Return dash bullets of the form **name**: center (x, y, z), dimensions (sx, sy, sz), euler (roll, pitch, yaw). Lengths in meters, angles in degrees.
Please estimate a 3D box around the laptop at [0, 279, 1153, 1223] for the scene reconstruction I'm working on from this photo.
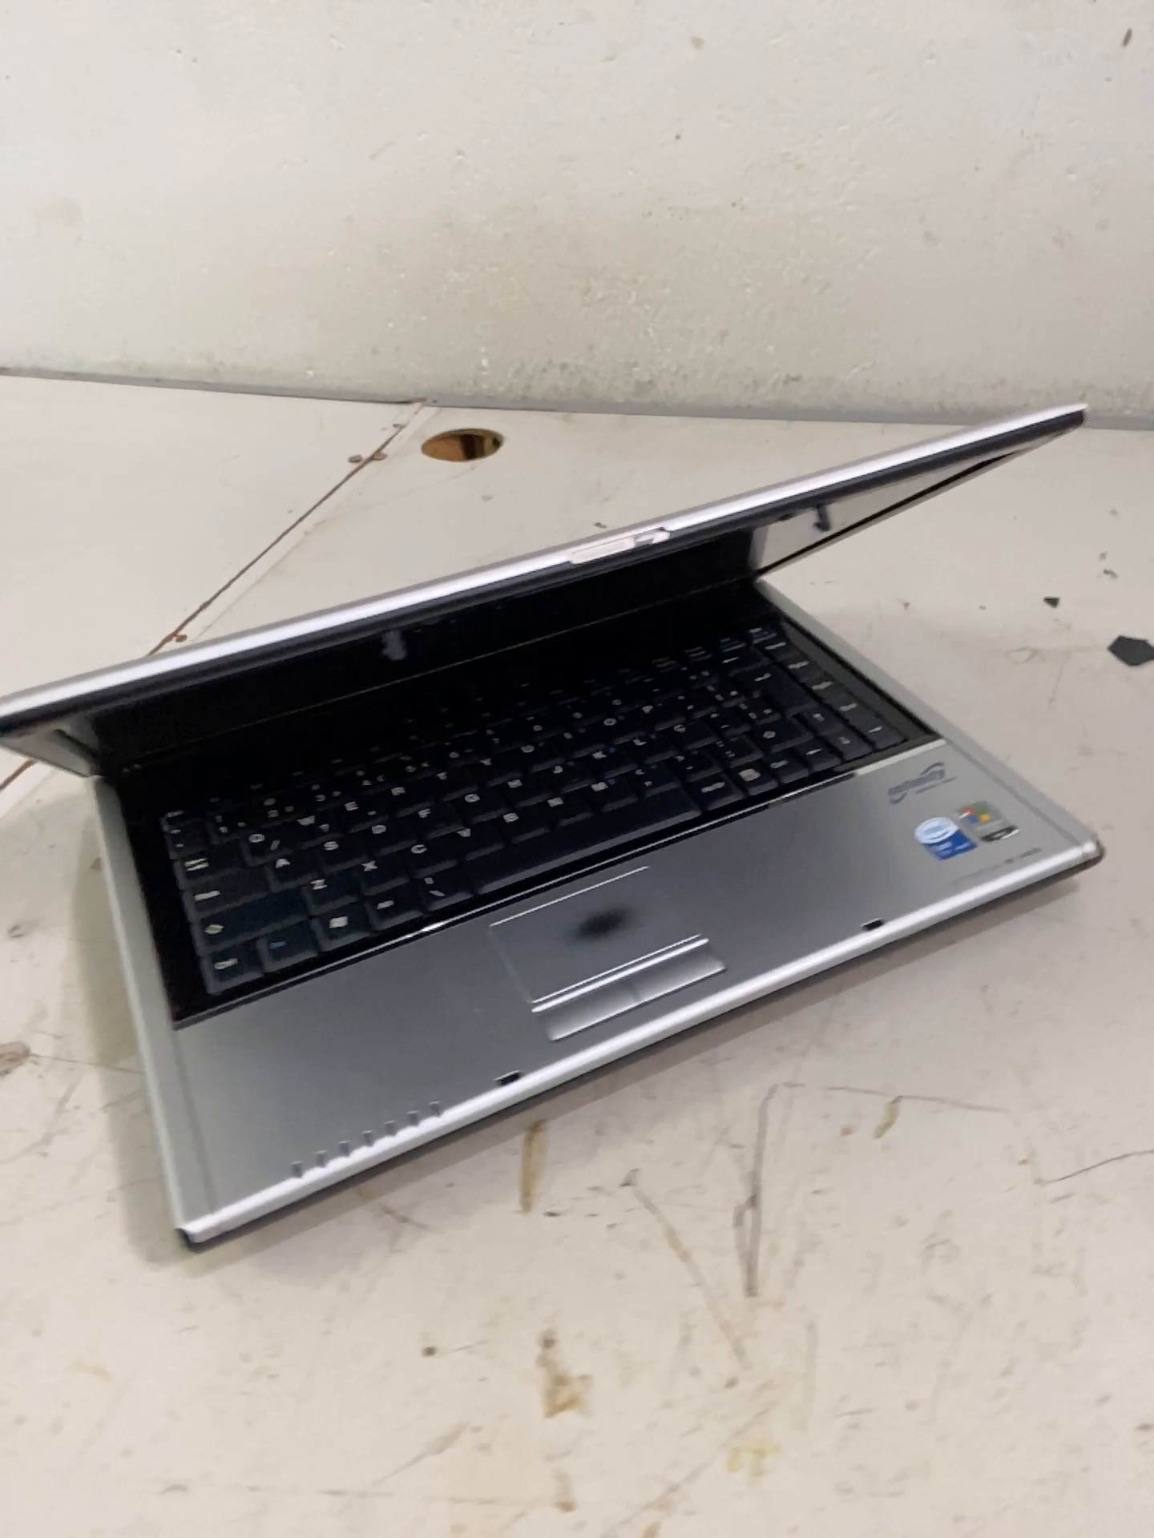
- **laptop**: center (-0.013, -0.041, 0.413), dimensions (0.319, 0.144, 0.227), euler (-19, 39, -17)
